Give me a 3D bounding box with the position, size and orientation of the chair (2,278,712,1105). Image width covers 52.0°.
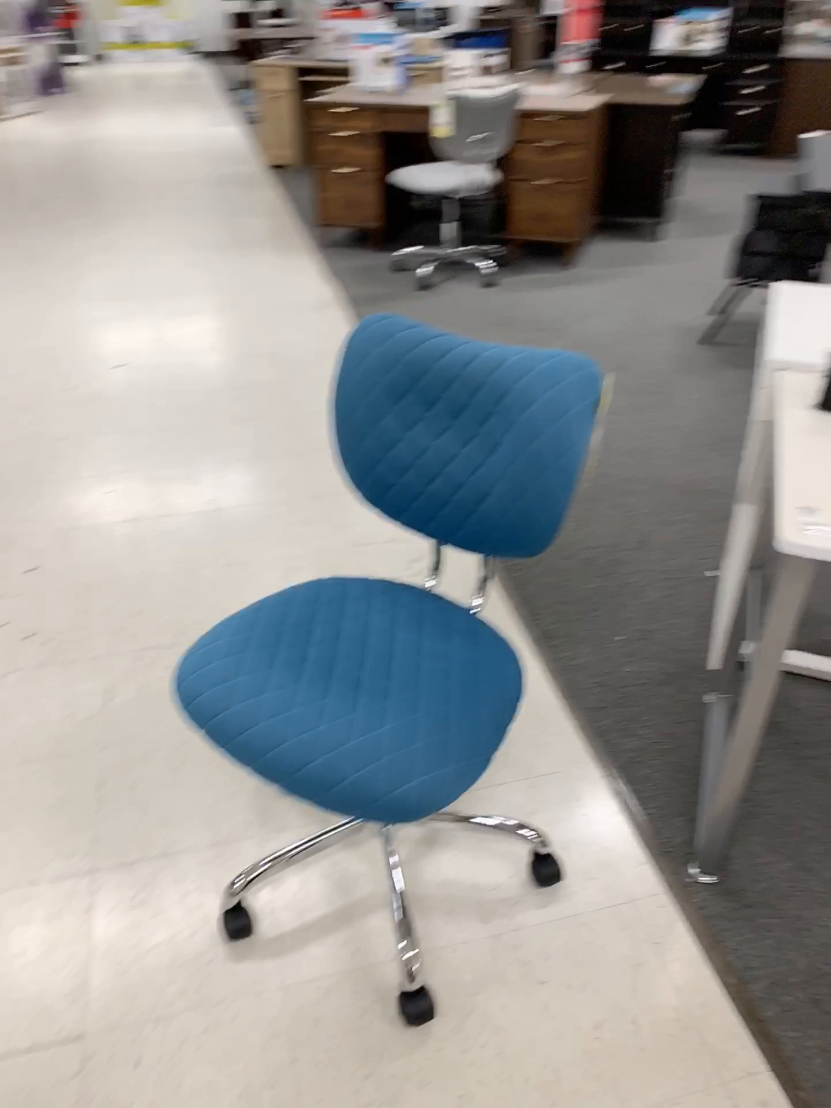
[{"bbox_3d":[-0.048,0.153,1.295,0.612,0.875,0.632,23,41,30],"label":"chair"}]
